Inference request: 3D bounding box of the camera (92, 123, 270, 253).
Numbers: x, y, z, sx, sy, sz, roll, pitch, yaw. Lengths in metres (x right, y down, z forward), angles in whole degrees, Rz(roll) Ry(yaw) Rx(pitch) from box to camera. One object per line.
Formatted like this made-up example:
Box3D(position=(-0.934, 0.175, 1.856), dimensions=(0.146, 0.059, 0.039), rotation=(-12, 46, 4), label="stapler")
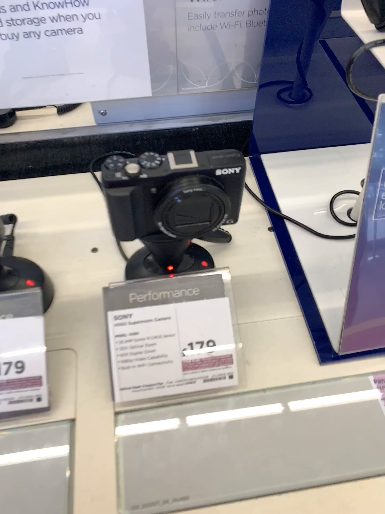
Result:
Box3D(position=(-0.009, -0.048, 0.281), dimensions=(0.110, 0.069, 0.040), rotation=(-9, 54, -6), label="camera")
